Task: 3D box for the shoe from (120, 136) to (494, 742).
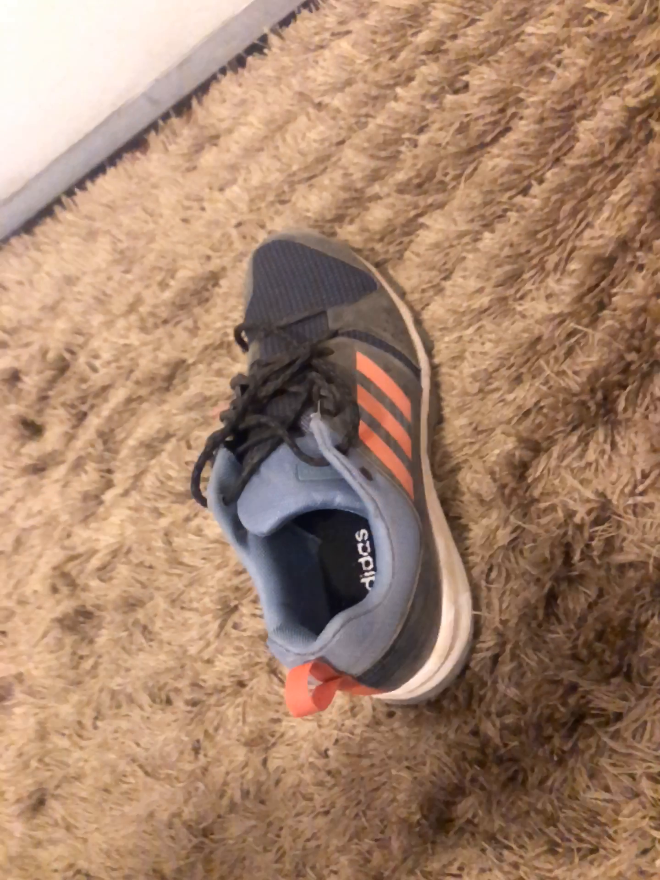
[{"bbox_3d":[-0.021,0.001,0.394,0.113,0.110,0.275,-23,65,26],"label":"shoe"}]
